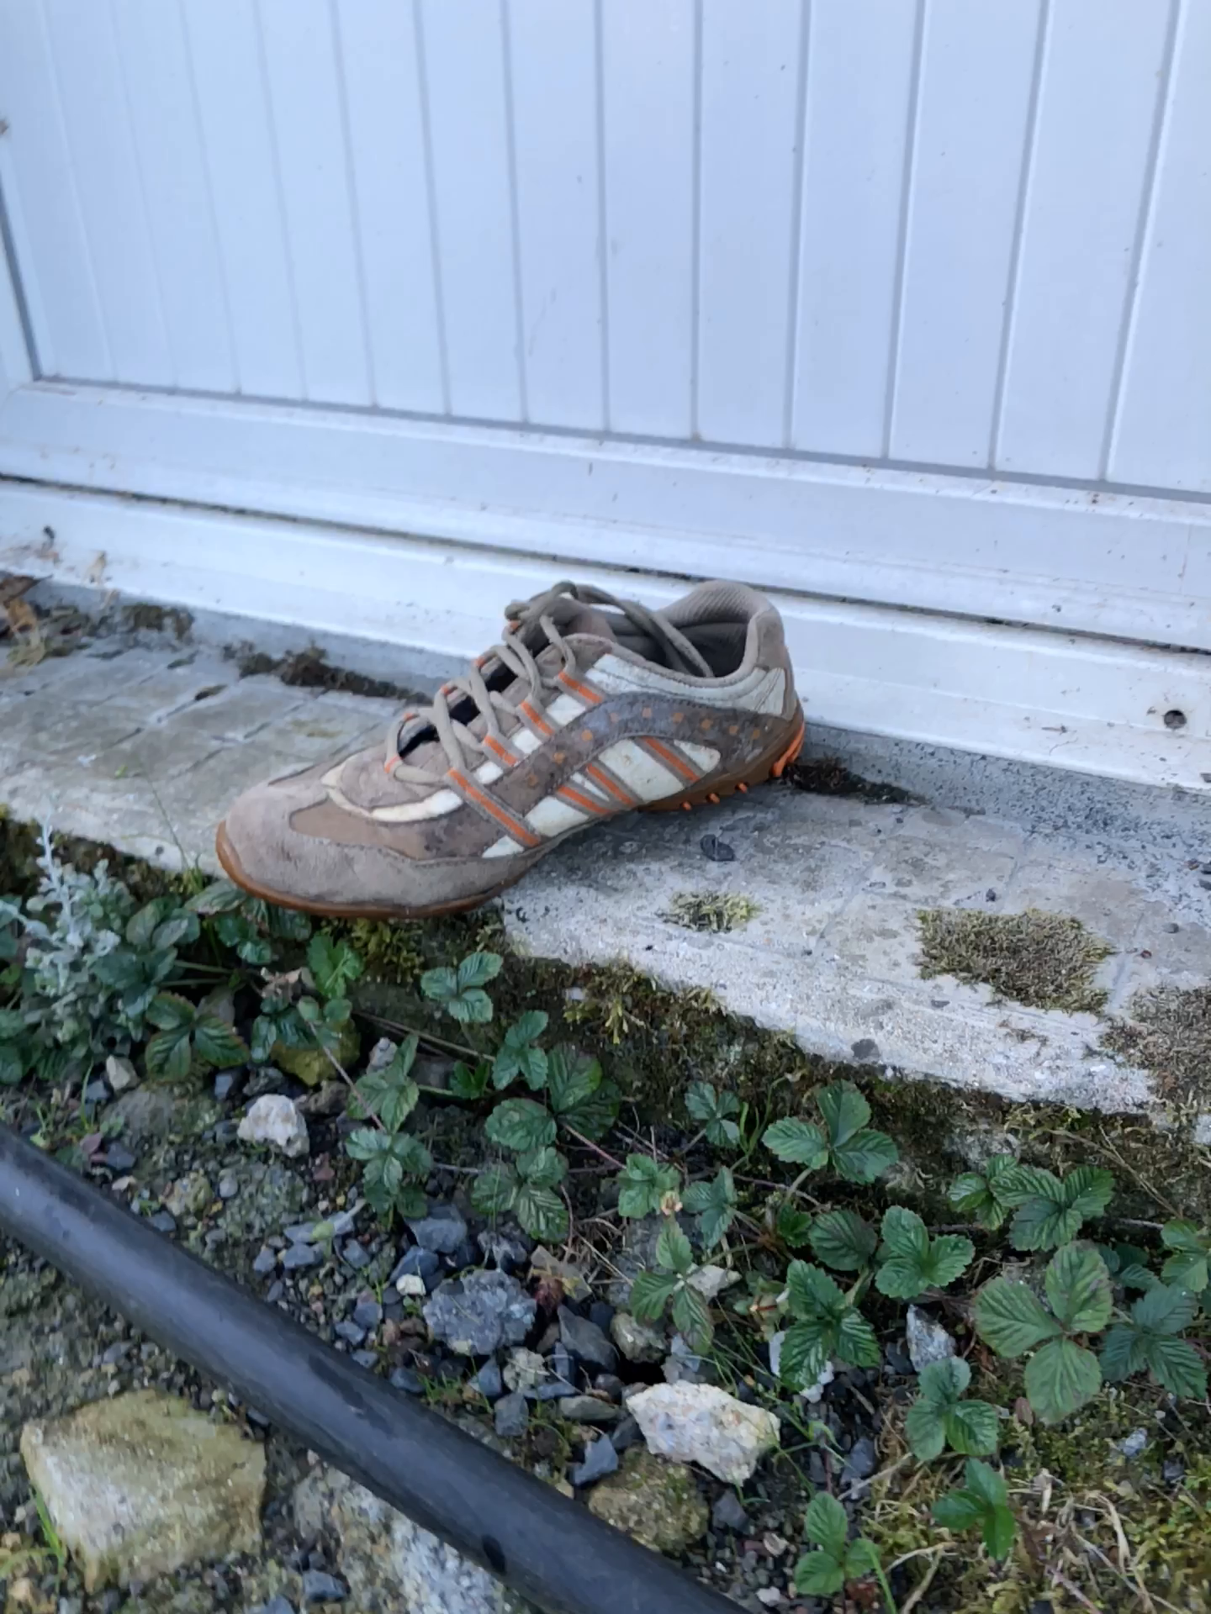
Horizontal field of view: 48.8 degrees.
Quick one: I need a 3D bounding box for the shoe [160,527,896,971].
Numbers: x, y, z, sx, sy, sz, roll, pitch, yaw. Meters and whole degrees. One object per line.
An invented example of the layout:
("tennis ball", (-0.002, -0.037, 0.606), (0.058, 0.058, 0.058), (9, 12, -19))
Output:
("shoe", (-0.030, -0.035, 0.552), (0.271, 0.099, 0.110), (-12, 30, -19))
